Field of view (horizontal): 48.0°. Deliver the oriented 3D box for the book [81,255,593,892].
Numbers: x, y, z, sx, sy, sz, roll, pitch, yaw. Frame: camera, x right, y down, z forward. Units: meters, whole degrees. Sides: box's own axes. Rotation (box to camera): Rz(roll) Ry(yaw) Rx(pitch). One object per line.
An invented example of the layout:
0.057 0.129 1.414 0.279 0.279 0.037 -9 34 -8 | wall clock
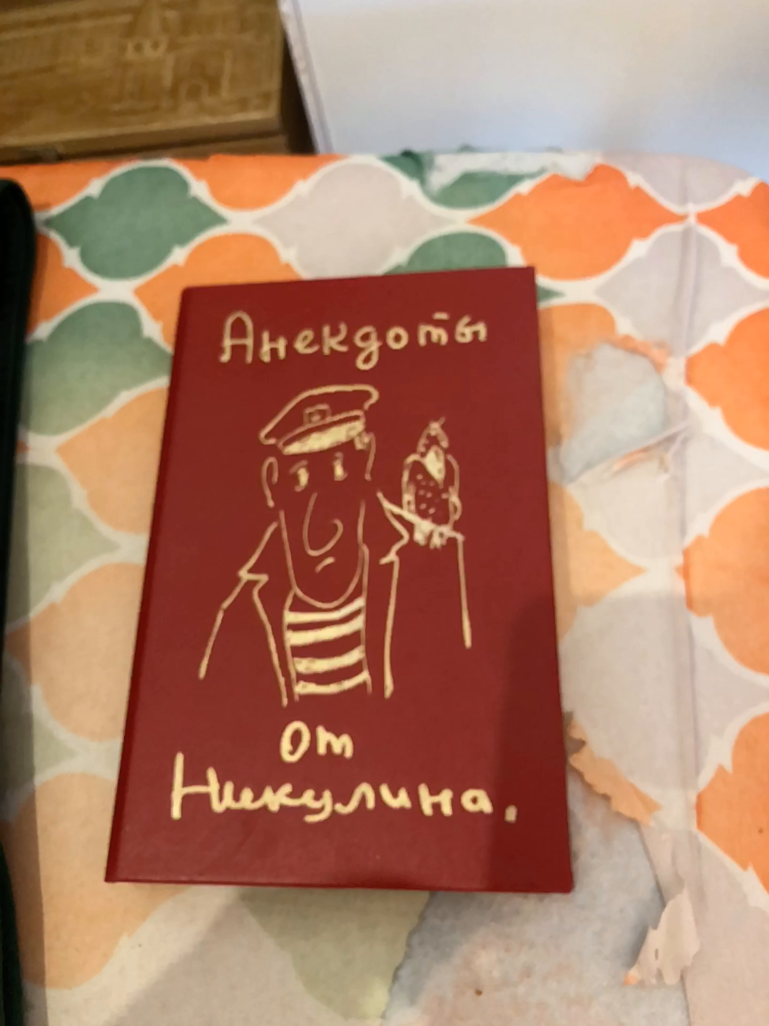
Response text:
-0.012 0.011 0.288 0.140 0.030 0.208 -2 66 7 | book
